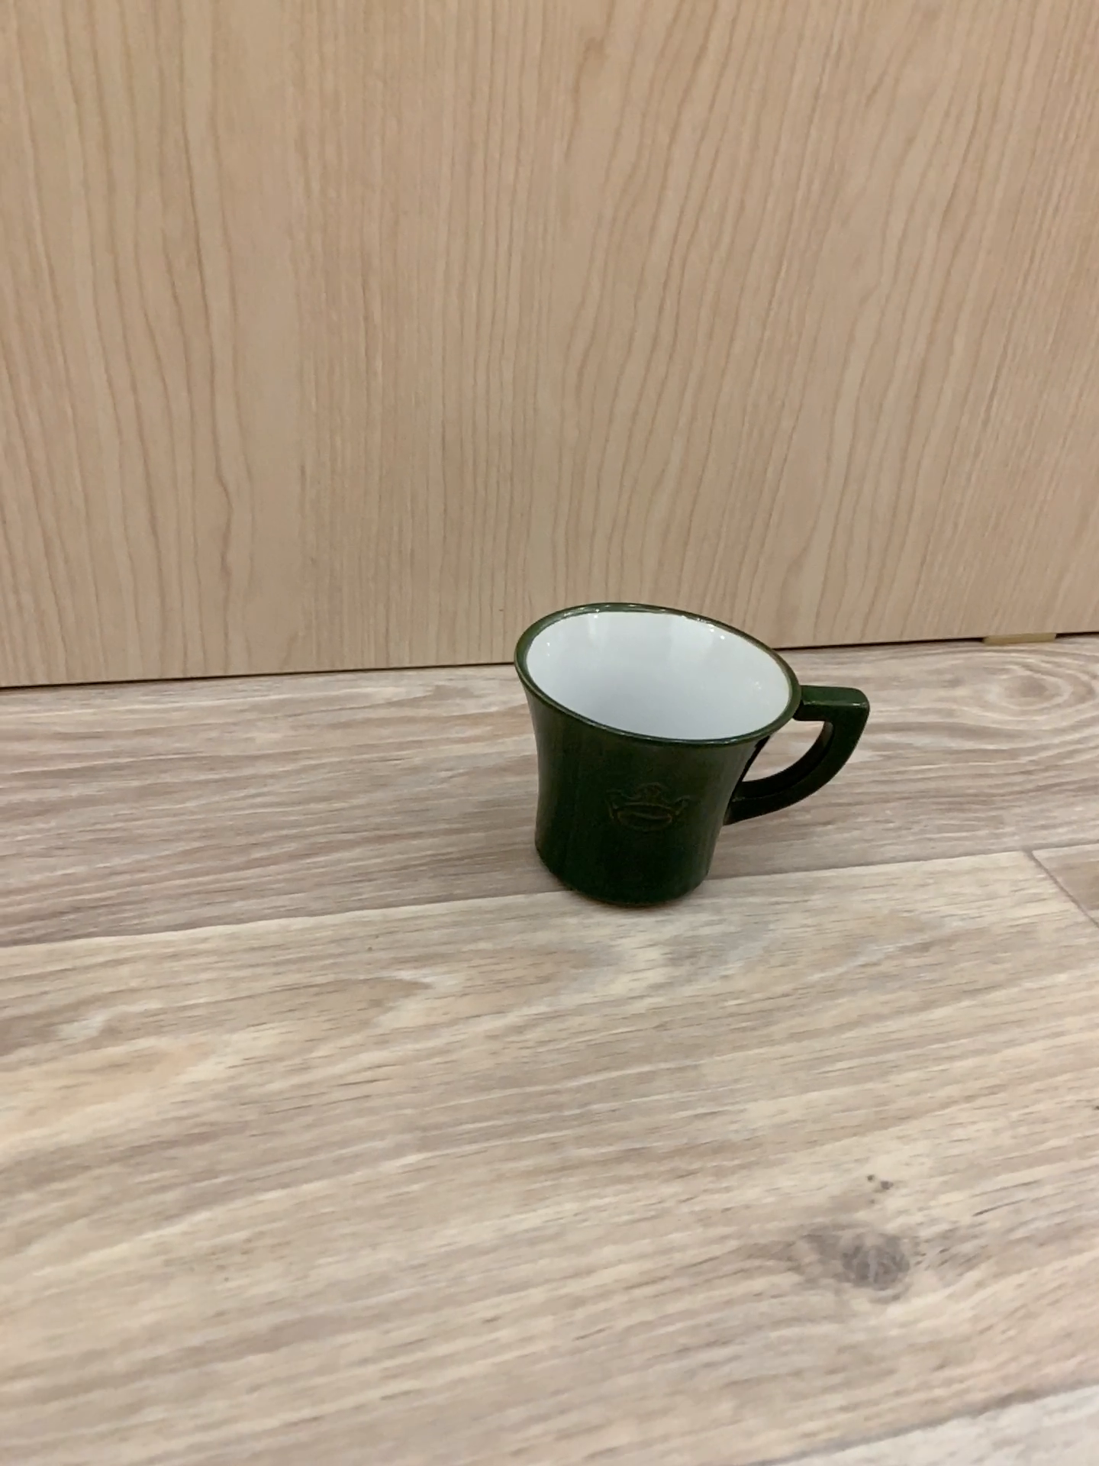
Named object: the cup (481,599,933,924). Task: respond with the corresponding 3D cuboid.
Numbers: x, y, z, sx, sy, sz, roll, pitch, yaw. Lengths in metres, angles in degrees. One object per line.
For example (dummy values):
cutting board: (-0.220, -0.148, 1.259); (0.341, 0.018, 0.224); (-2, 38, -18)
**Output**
cup: (0.040, 0.005, 0.338); (0.106, 0.061, 0.075); (-2, 32, -13)
